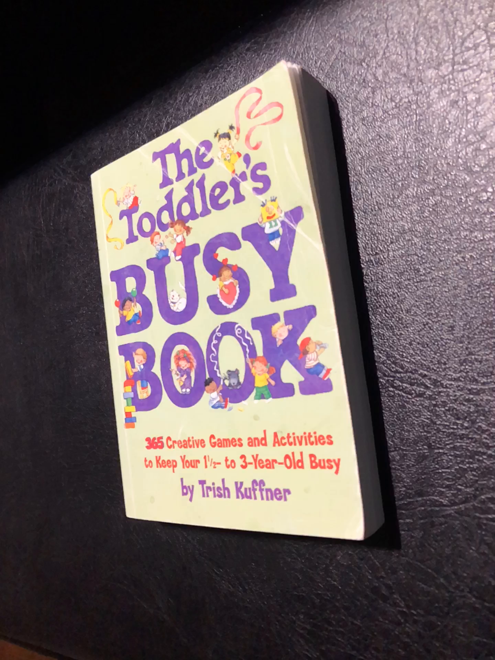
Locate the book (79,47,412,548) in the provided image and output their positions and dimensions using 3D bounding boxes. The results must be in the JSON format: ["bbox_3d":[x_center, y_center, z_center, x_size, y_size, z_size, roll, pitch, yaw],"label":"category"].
[{"bbox_3d":[-0.012,-0.005,0.243,0.136,0.033,0.176,-11,84,38],"label":"book"}]
